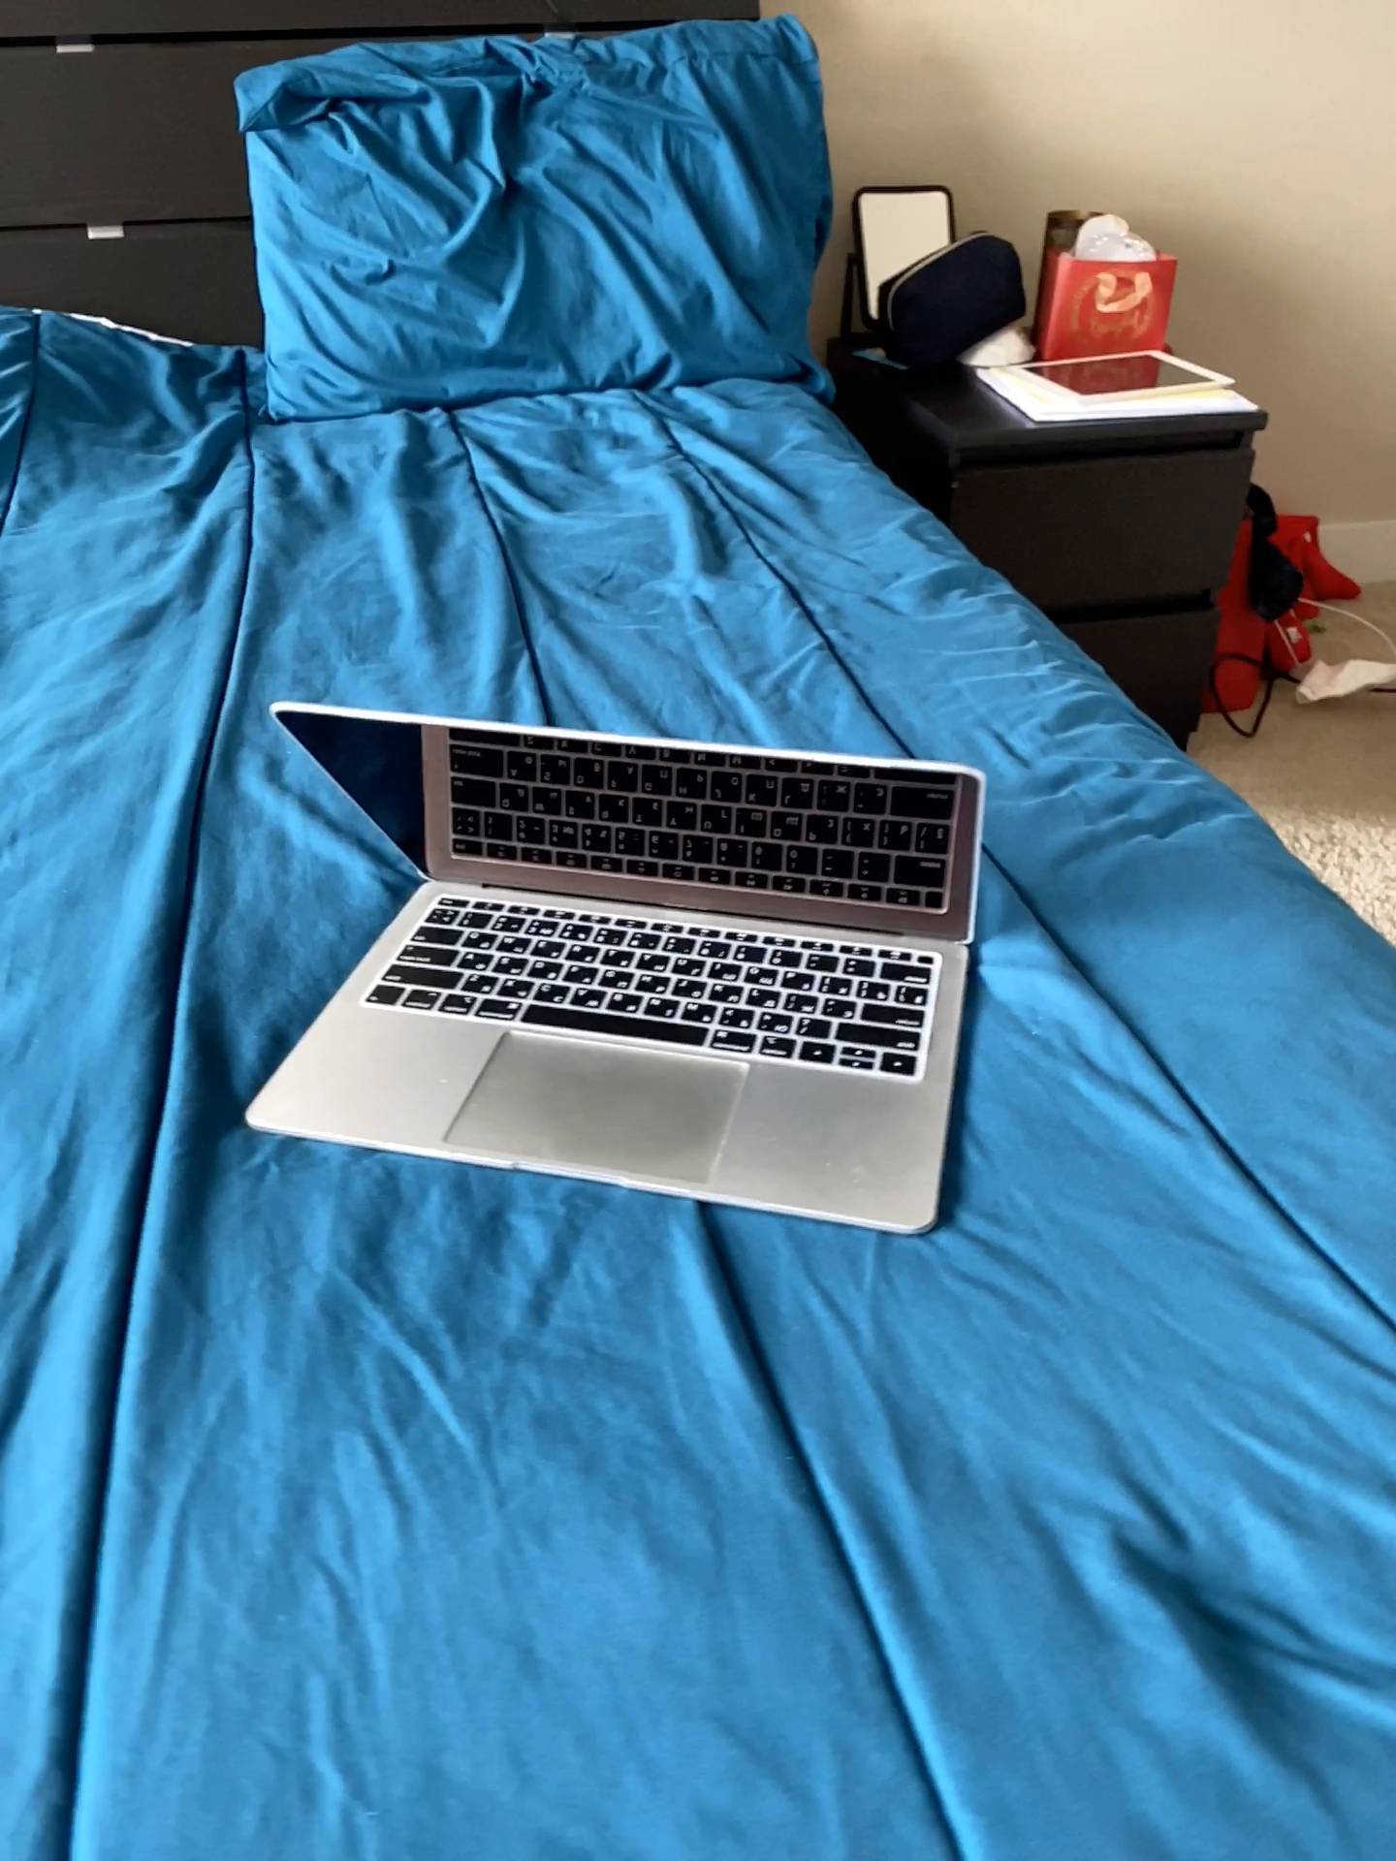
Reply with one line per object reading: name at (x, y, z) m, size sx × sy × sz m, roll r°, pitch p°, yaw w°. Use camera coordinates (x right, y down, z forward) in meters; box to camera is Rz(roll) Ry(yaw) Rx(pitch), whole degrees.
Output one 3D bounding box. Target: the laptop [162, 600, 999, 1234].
laptop at (-0.030, -0.023, 0.630) m, size 0.295 × 0.161 × 0.216 m, roll 6°, pitch 34°, yaw 12°
